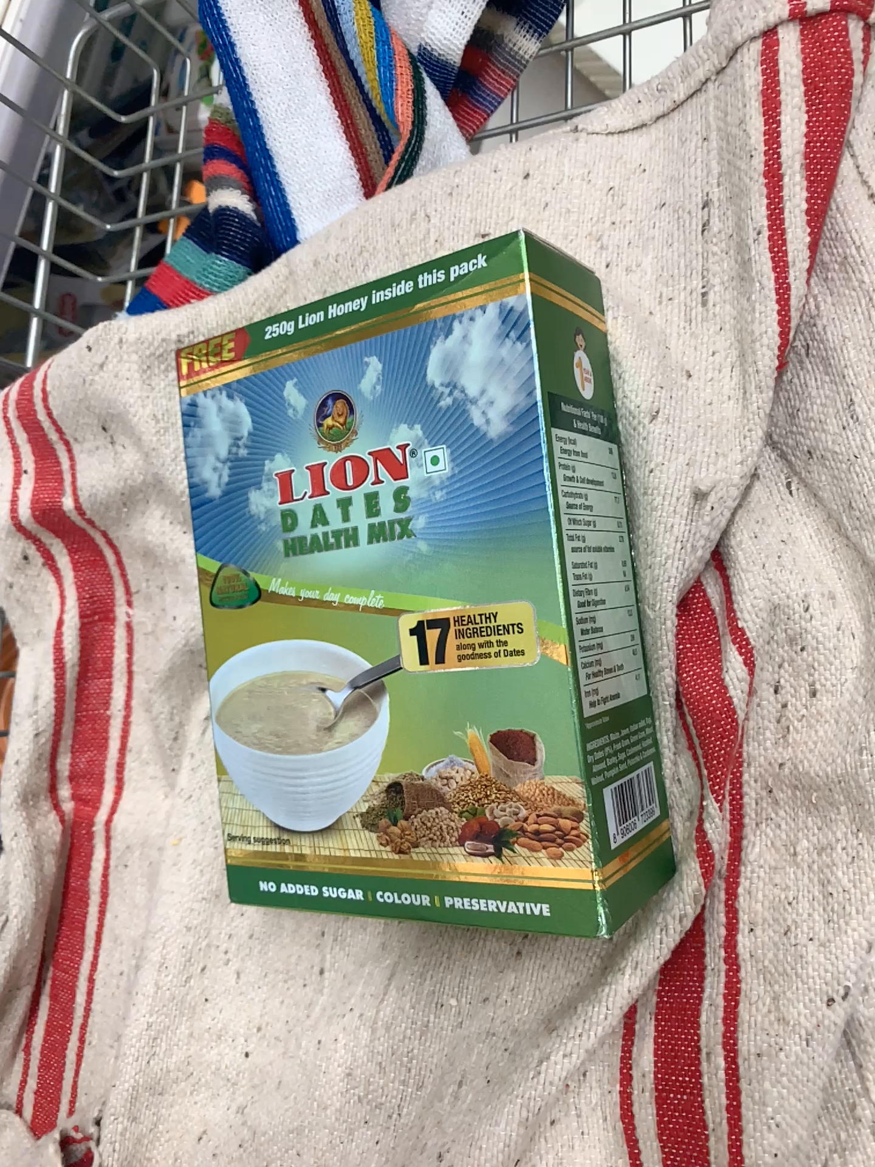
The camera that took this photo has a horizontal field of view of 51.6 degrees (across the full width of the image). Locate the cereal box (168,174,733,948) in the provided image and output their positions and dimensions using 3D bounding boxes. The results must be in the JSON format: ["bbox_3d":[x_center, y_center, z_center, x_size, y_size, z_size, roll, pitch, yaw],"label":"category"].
[{"bbox_3d":[0.003,0.000,0.296,0.141,0.090,0.190,-7,87,32],"label":"cereal box"}]
